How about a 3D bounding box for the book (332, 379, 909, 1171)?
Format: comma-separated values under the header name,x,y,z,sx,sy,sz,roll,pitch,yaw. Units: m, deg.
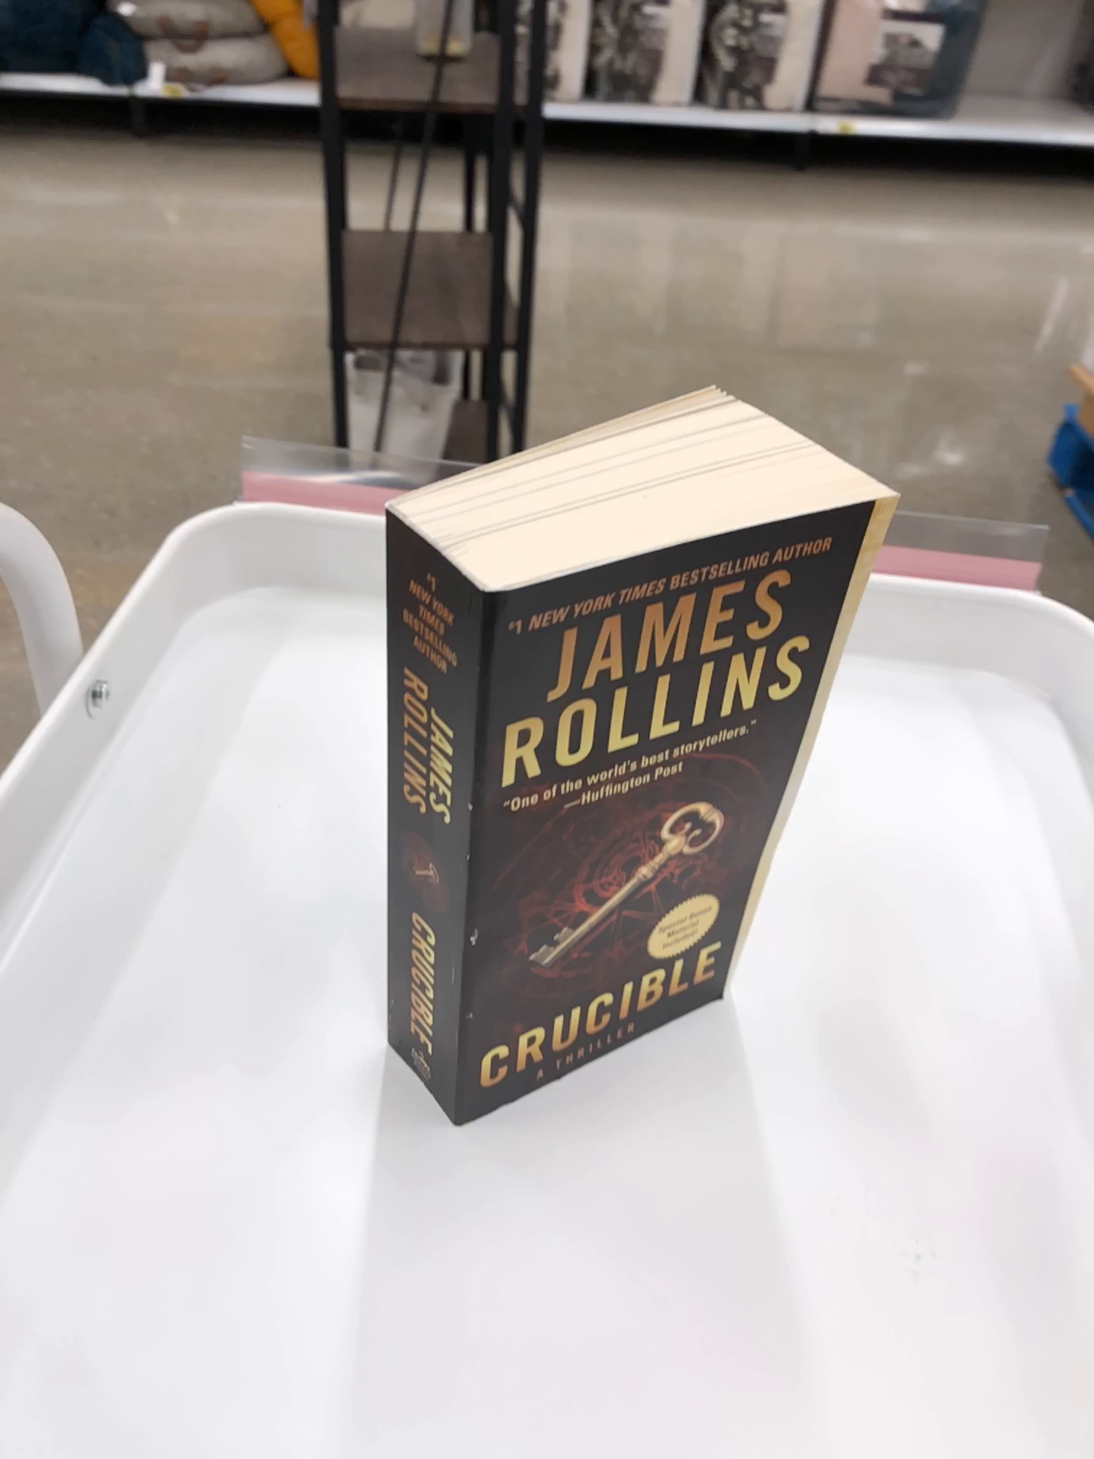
name,x,y,z,sx,sy,sz,roll,pitch,yaw
book,0.011,0.016,0.329,0.113,0.184,0.066,-21,46,-29
